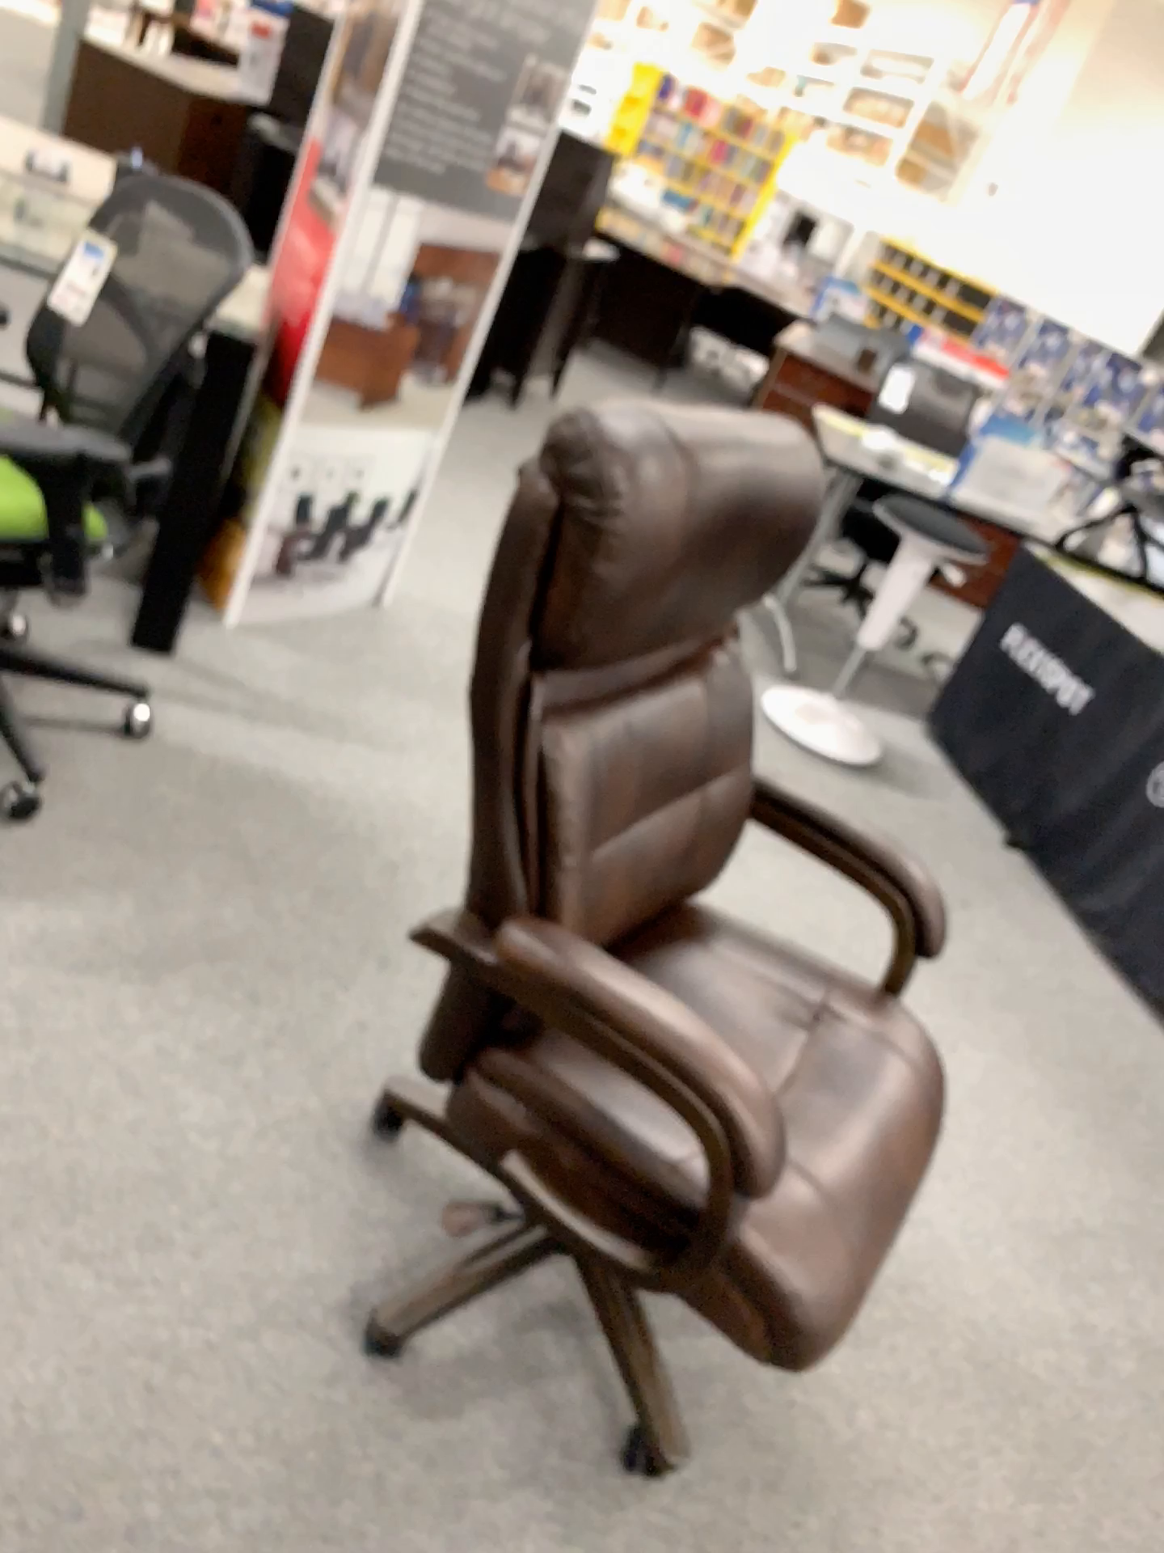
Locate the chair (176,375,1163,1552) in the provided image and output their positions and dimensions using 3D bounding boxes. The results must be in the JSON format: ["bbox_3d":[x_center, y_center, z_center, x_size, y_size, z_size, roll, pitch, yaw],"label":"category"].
[{"bbox_3d":[0.159,0.197,1.496,0.700,1.094,0.754,34,28,17],"label":"chair"}]
